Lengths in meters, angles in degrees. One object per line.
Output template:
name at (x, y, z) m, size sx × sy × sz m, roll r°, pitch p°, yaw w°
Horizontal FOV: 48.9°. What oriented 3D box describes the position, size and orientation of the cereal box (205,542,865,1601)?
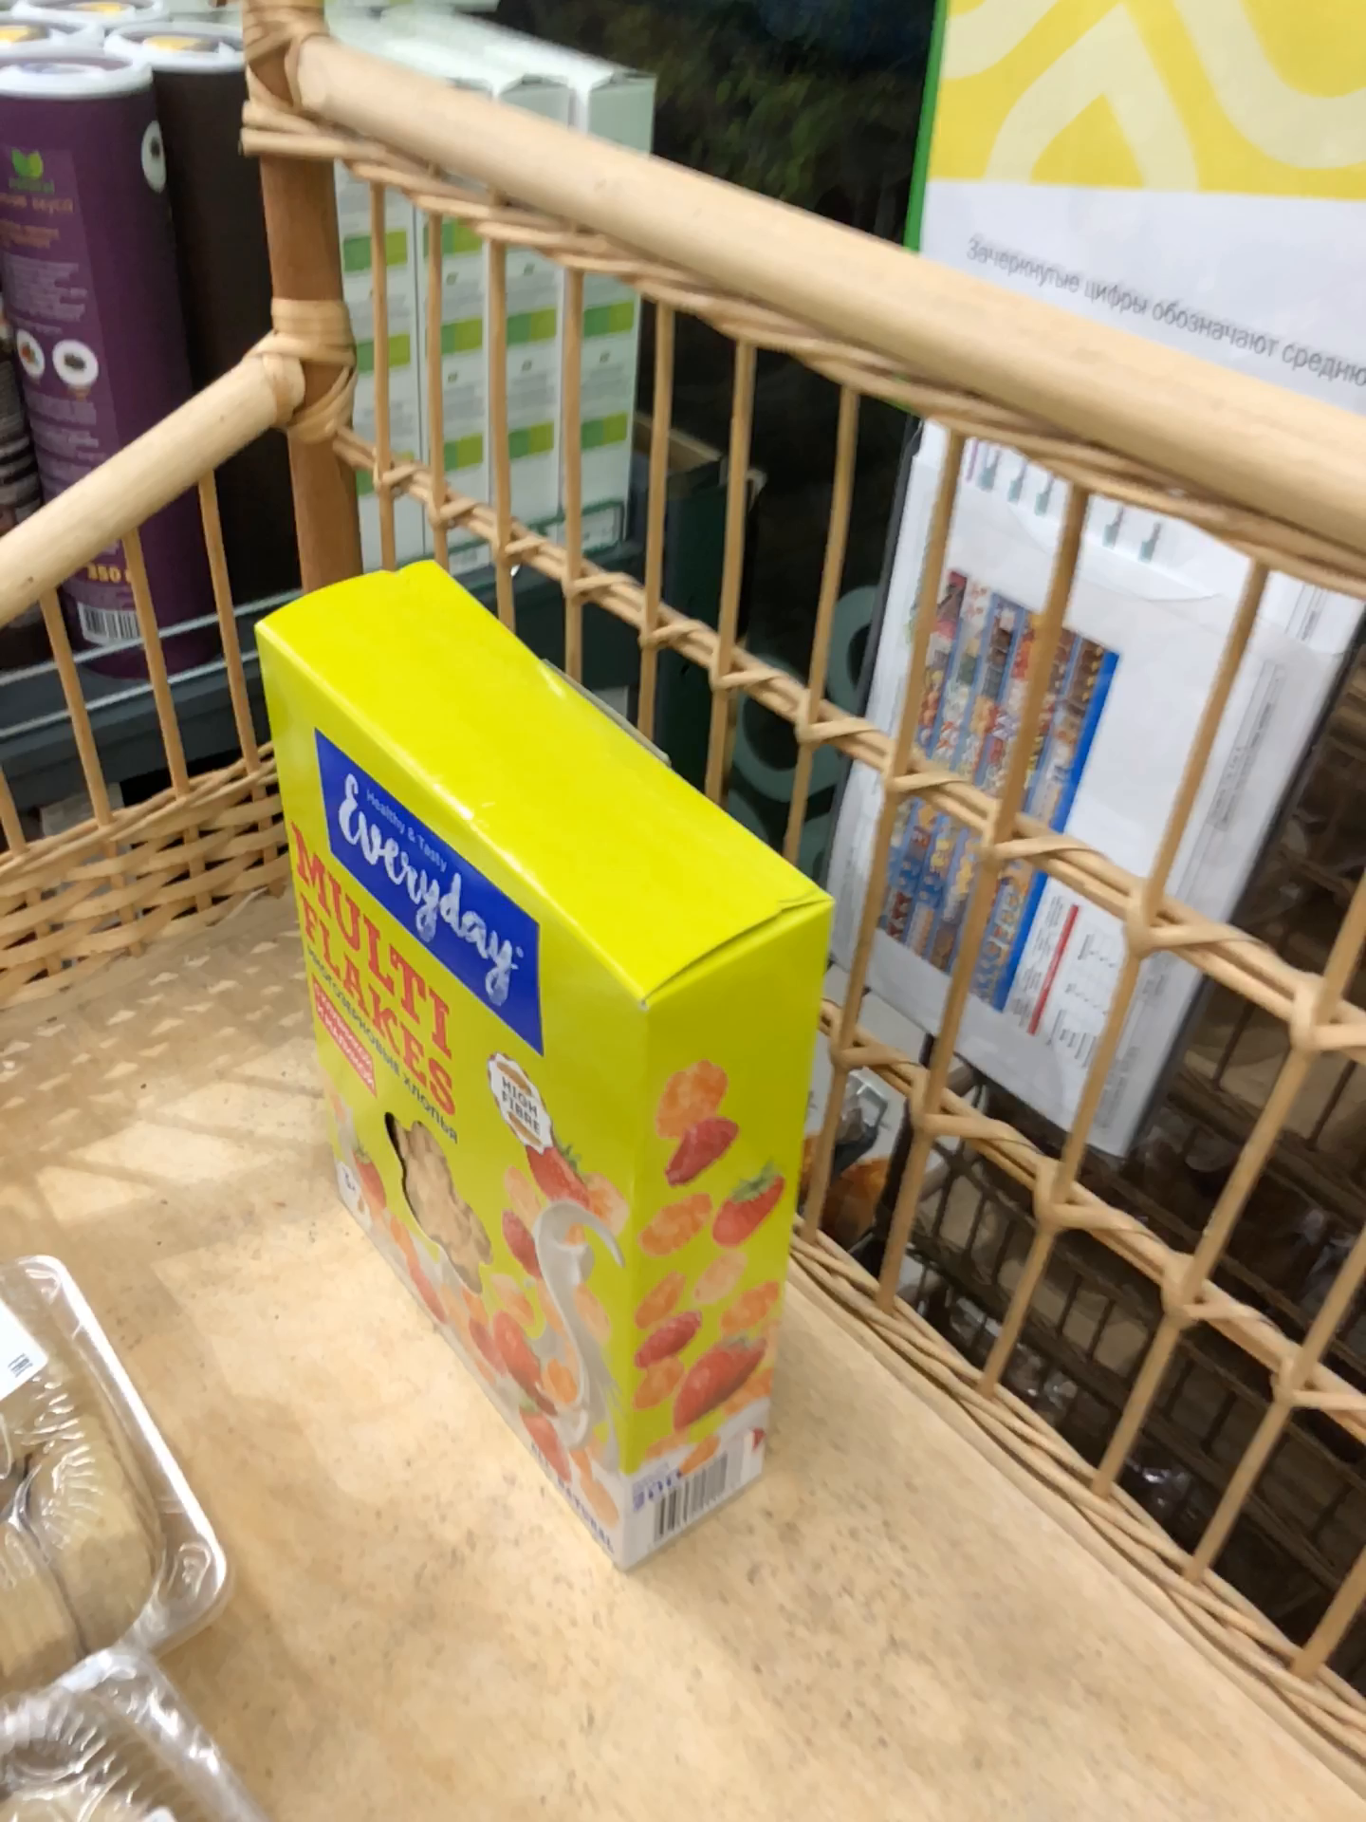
cereal box at (-0.047, 0.046, 0.414) m, size 0.060 × 0.229 × 0.181 m, roll -25°, pitch 48°, yaw -29°
